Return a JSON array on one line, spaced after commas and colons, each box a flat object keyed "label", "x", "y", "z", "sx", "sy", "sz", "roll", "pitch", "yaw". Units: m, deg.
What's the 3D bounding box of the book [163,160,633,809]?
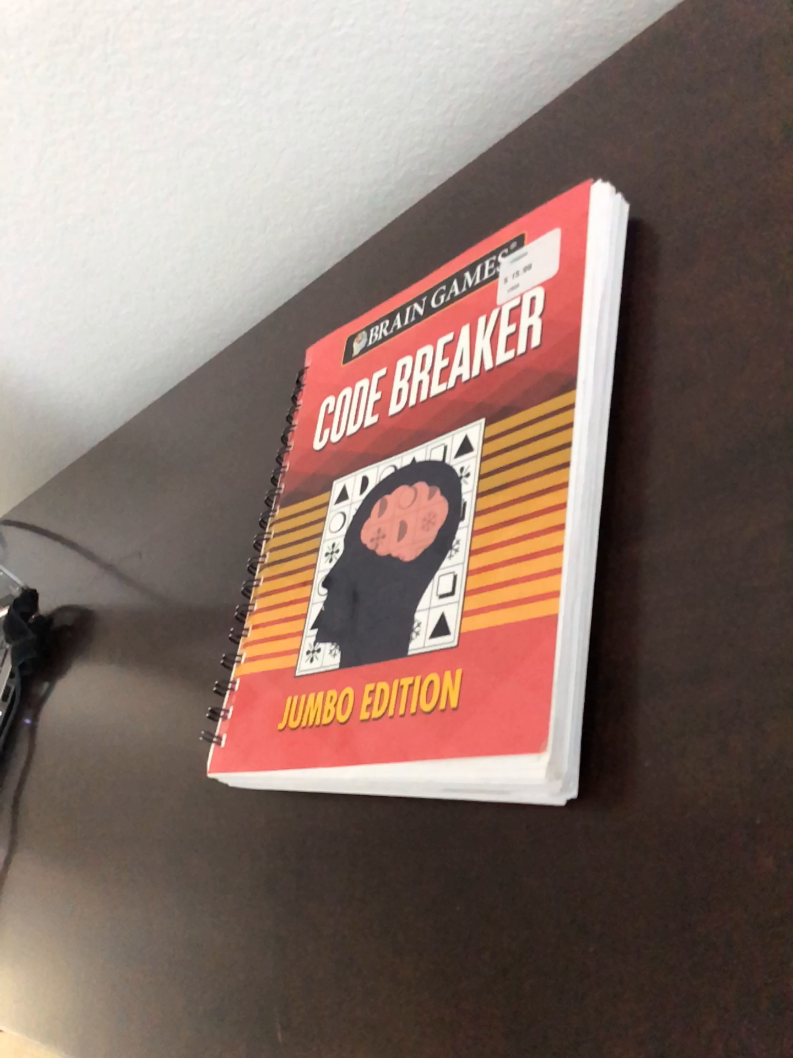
[{"label": "book", "x": -0.005, "y": -0.007, "z": 0.355, "sx": 0.203, "sy": 0.030, "sz": 0.224, "roll": -18, "pitch": 54, "yaw": 46}]
